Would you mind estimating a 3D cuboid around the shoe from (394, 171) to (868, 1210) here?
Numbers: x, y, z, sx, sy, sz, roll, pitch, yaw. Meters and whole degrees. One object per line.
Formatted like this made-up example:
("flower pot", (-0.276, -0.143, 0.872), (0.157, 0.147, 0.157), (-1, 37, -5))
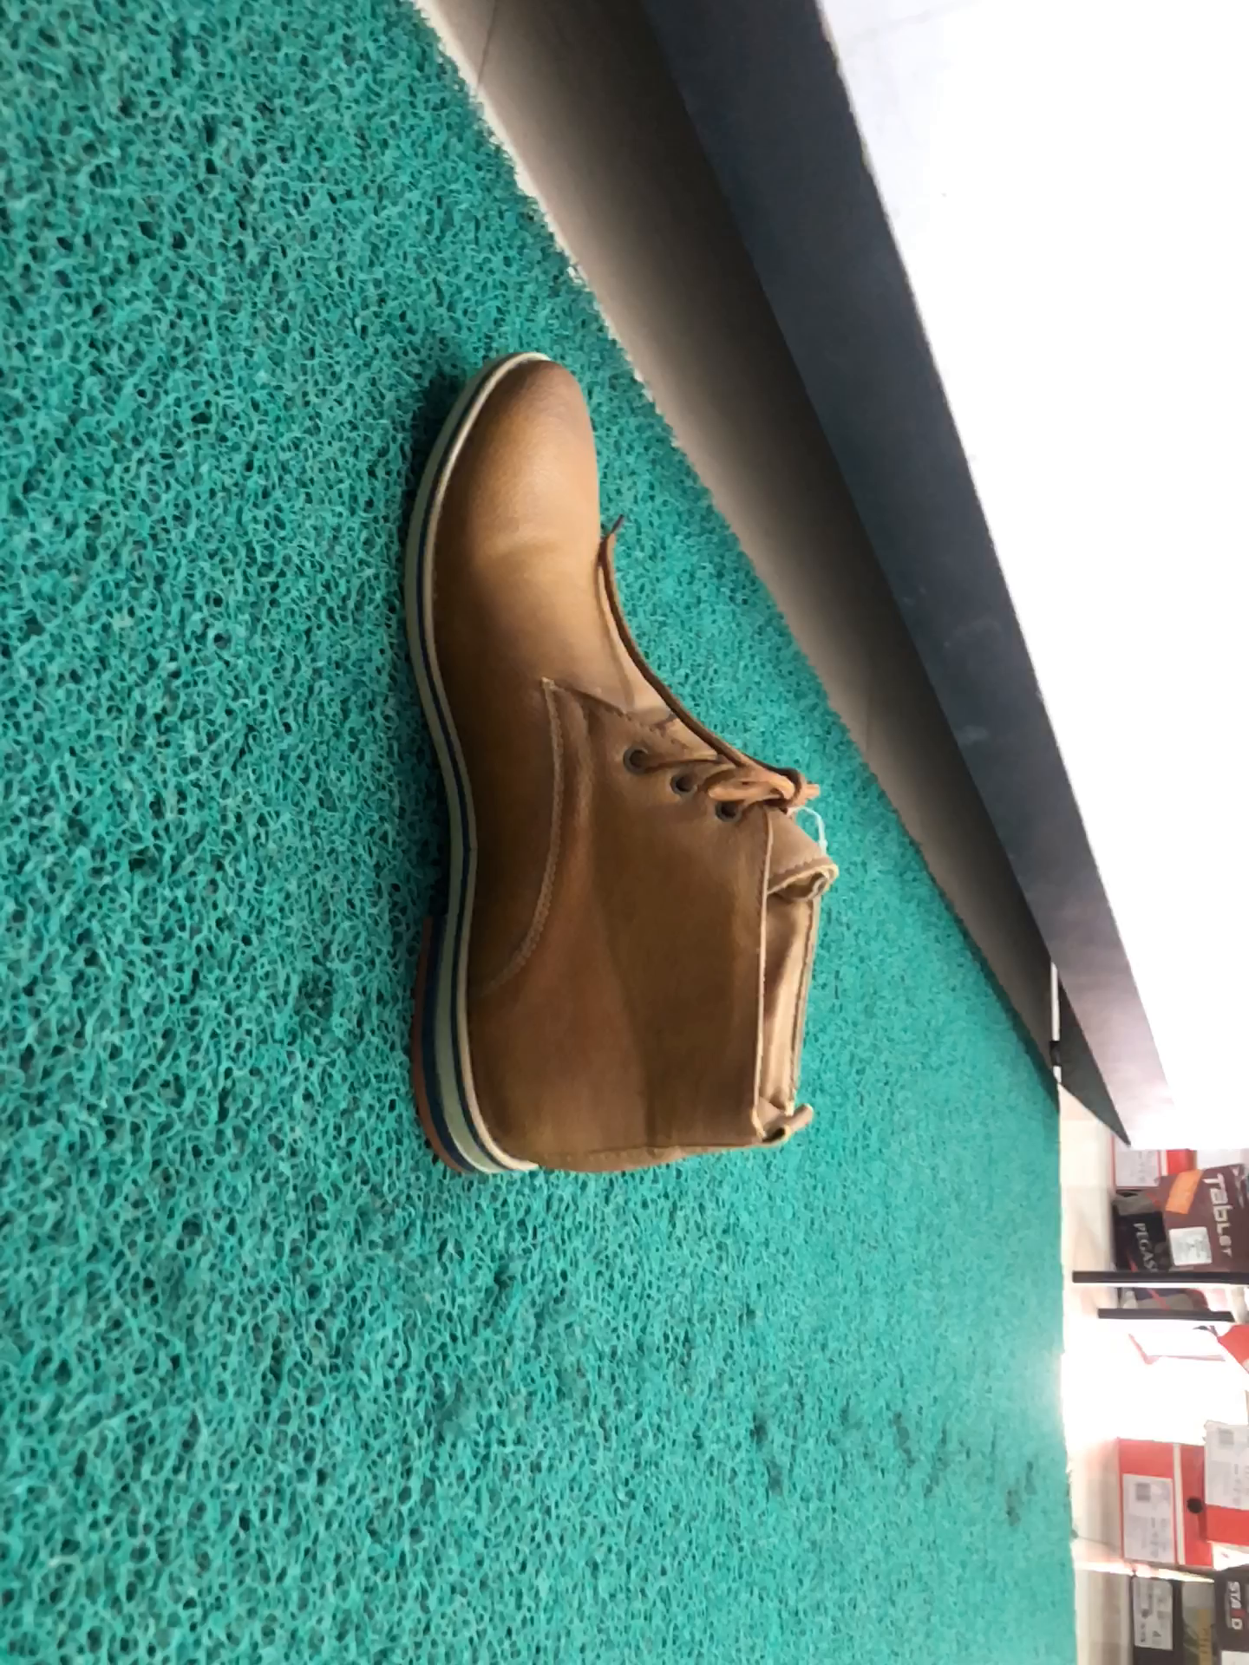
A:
("shoe", (0.004, -0.038, 0.477), (0.121, 0.109, 0.310), (14, 72, -64))
